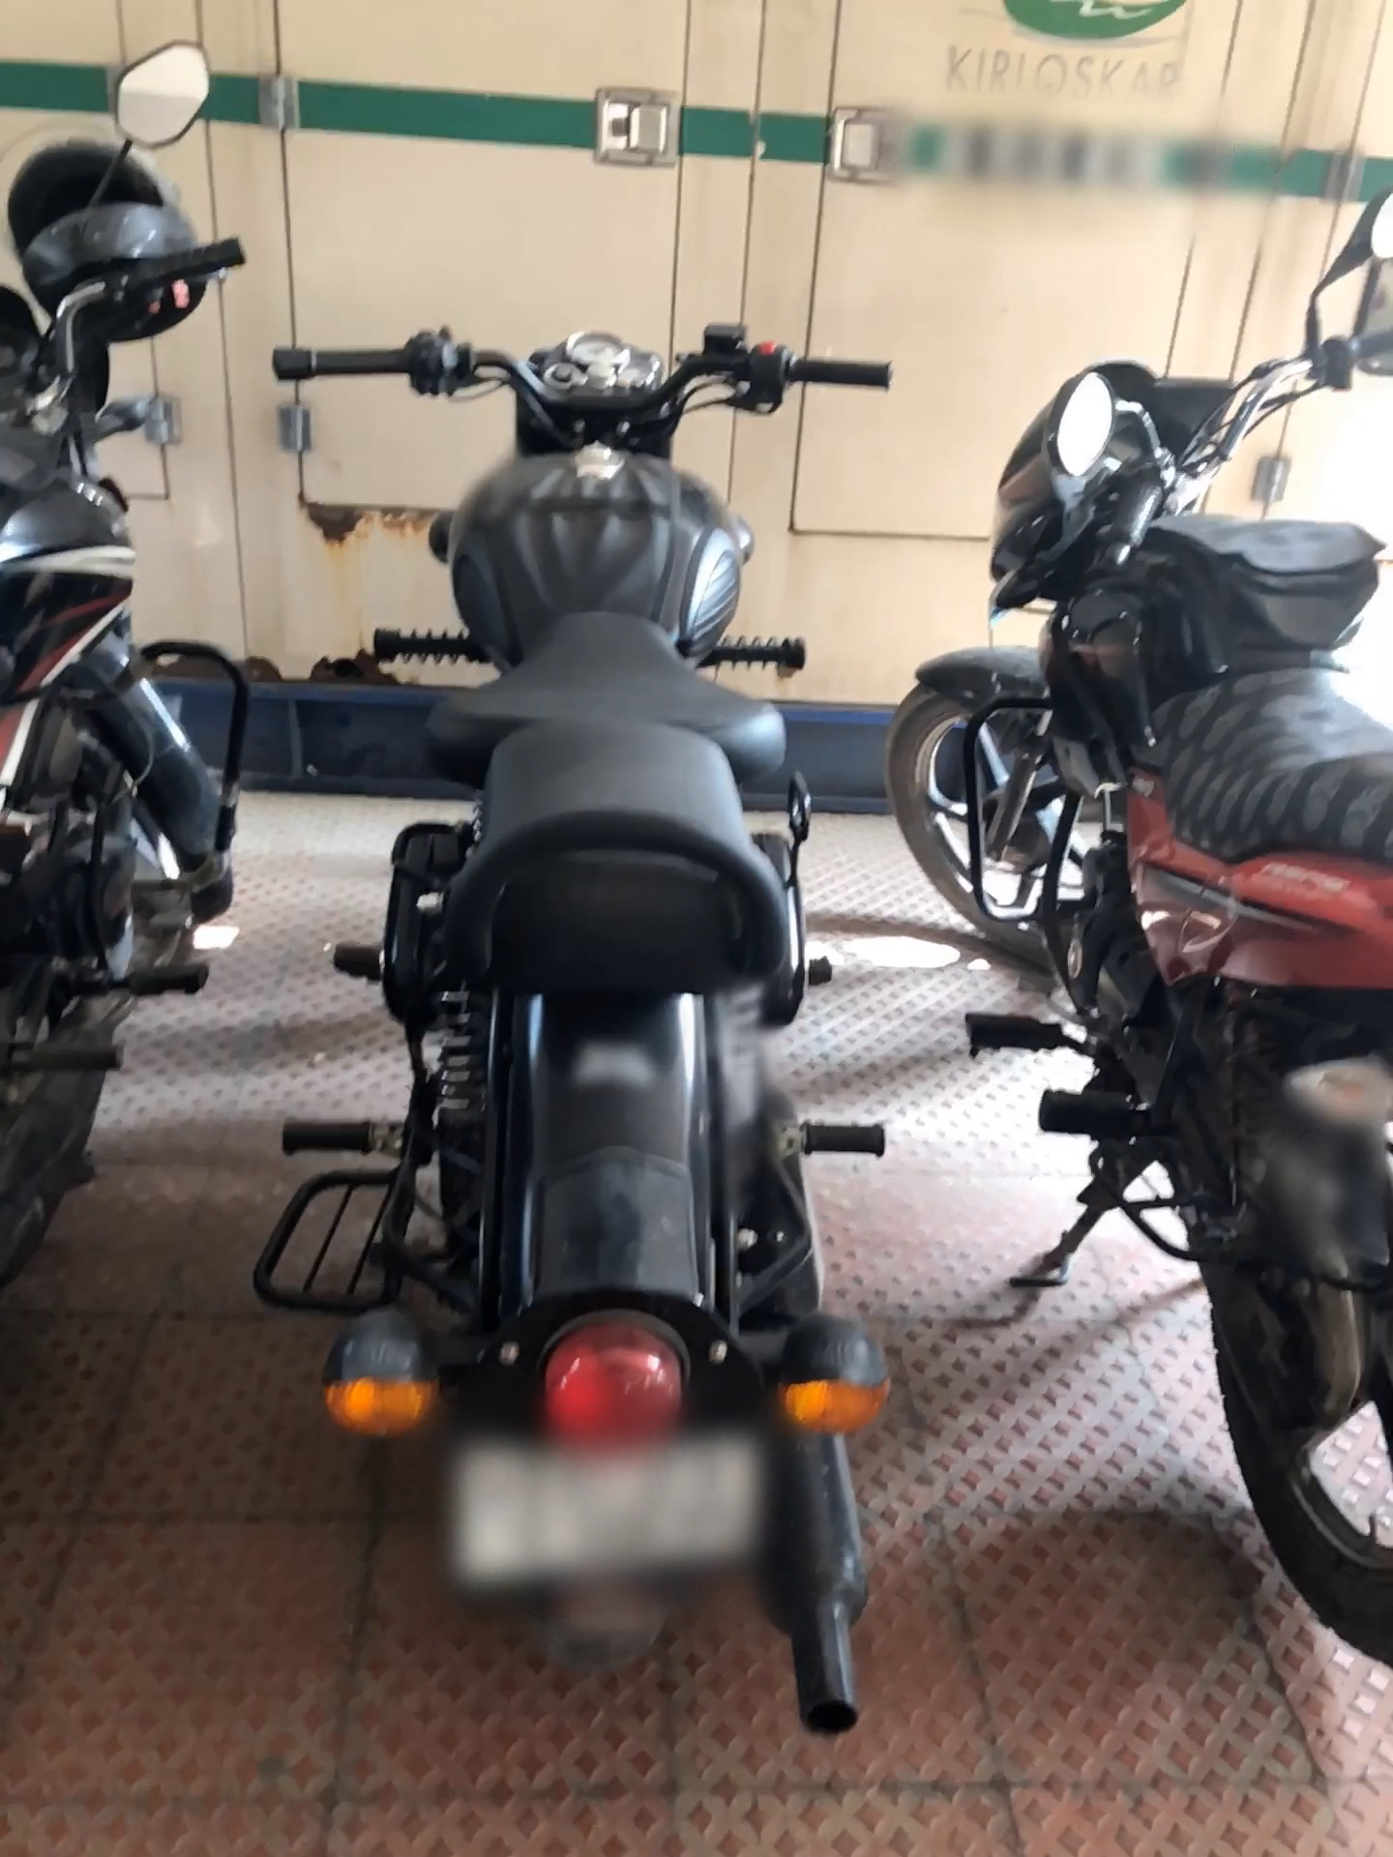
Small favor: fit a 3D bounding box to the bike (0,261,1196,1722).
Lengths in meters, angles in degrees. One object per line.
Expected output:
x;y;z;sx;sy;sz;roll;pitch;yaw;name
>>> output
-0.200;-0.163;1.800;0.709;0.919;1.696;0;29;-8;bike
